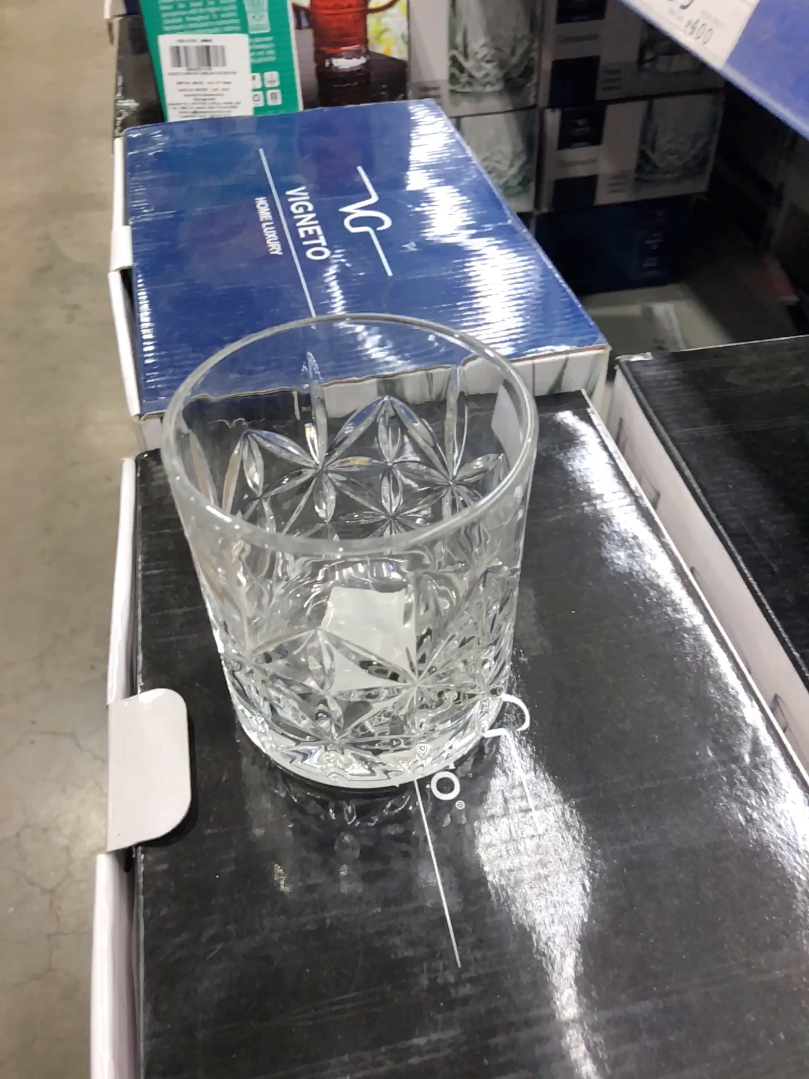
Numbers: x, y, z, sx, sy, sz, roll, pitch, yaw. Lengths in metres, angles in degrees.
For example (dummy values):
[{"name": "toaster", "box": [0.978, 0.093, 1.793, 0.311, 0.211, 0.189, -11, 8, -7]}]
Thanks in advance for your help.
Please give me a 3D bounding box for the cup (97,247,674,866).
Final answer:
[{"name": "cup", "box": [-0.010, 0.001, 0.241, 0.100, 0.100, 0.100, -1, 45, 1]}]
